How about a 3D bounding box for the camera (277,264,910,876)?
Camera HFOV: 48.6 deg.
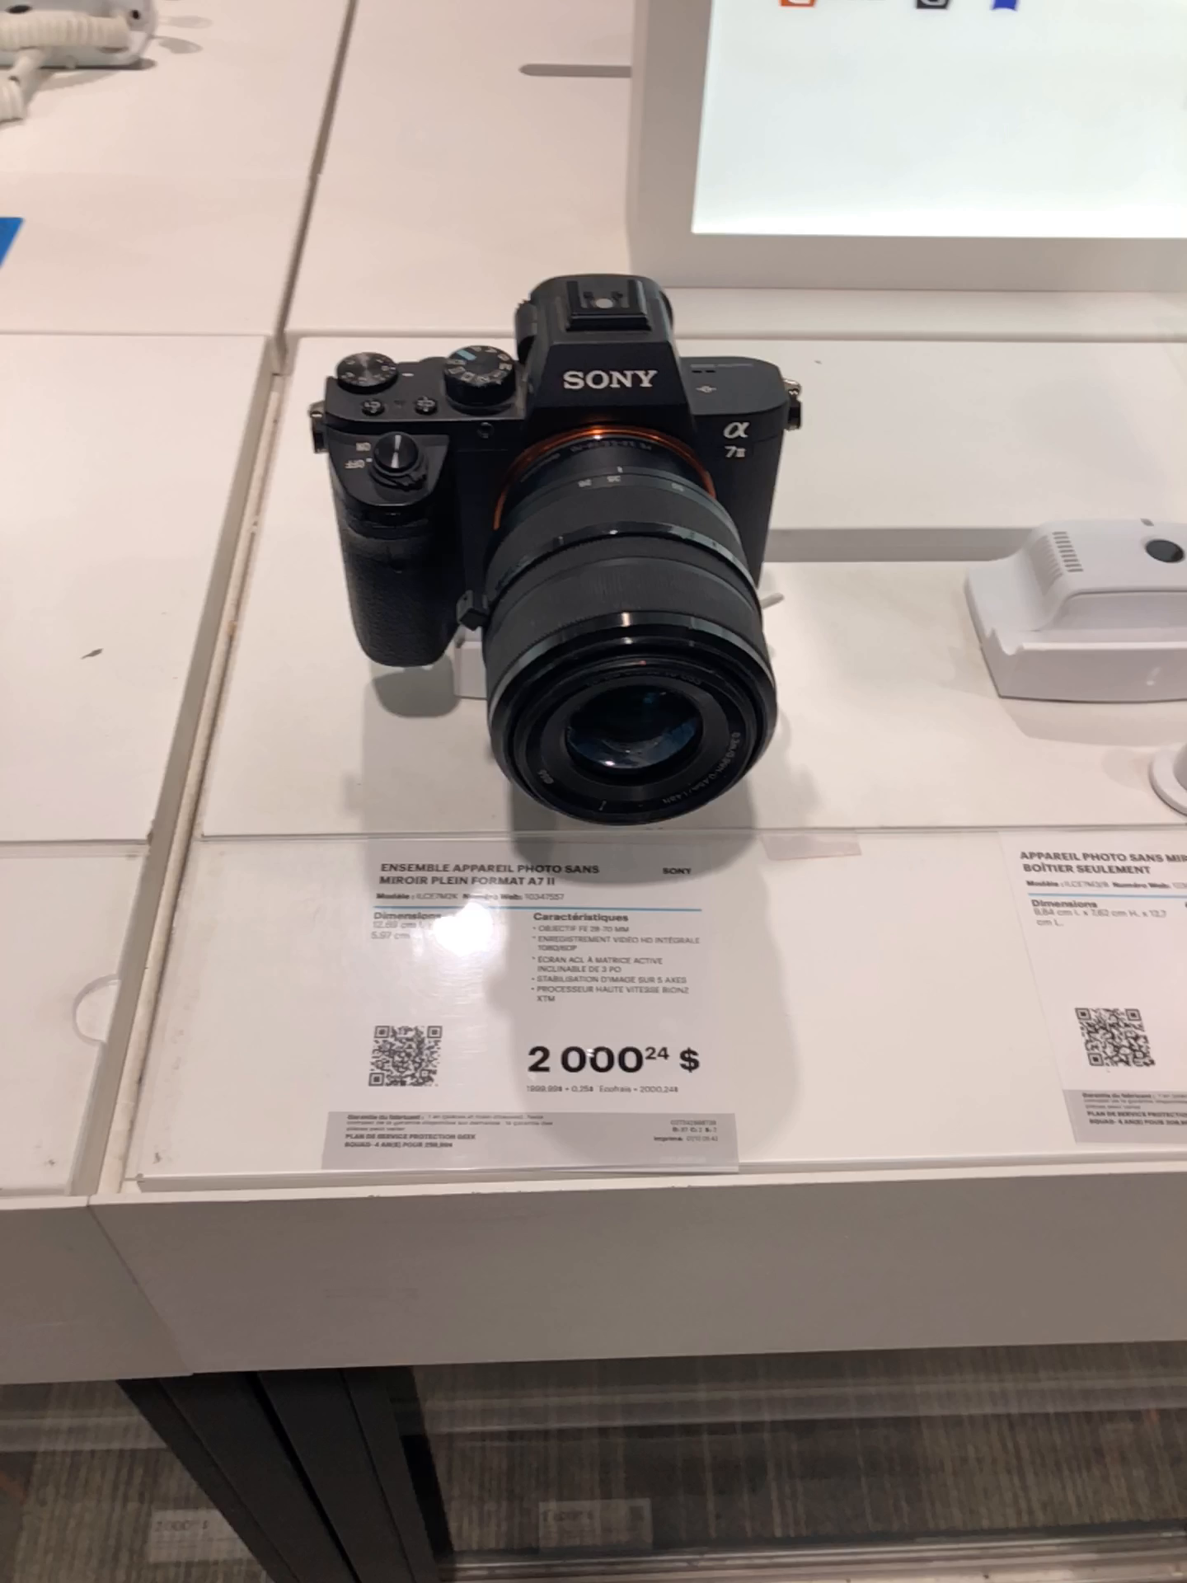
[{"bbox_3d":[-0.005,-0.063,0.356,0.134,0.099,0.131,-3,49,-4],"label":"camera"}]
